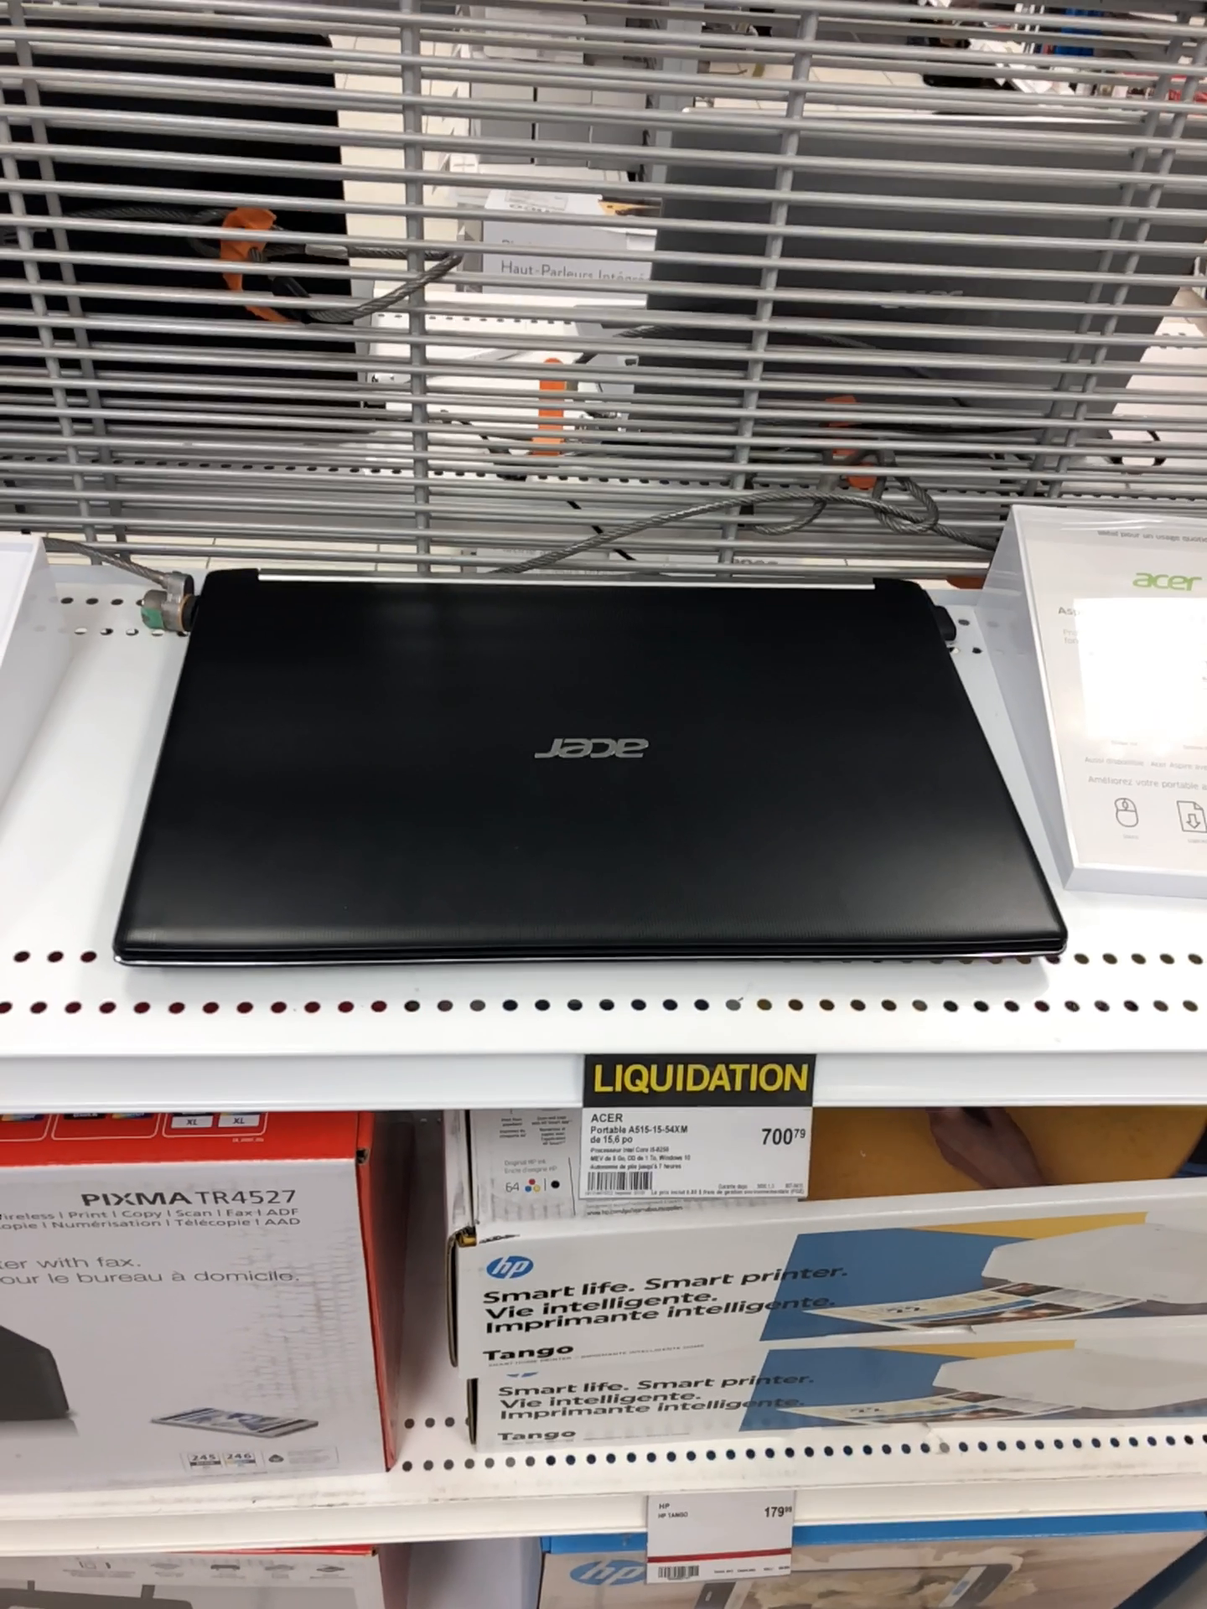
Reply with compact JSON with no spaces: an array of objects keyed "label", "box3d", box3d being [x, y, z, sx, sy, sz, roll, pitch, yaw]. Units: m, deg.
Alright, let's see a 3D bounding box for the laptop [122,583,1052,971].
[{"label":"laptop","box3d":[-0.006,-0.024,0.595,0.361,0.012,0.228,0,46,-6]}]
